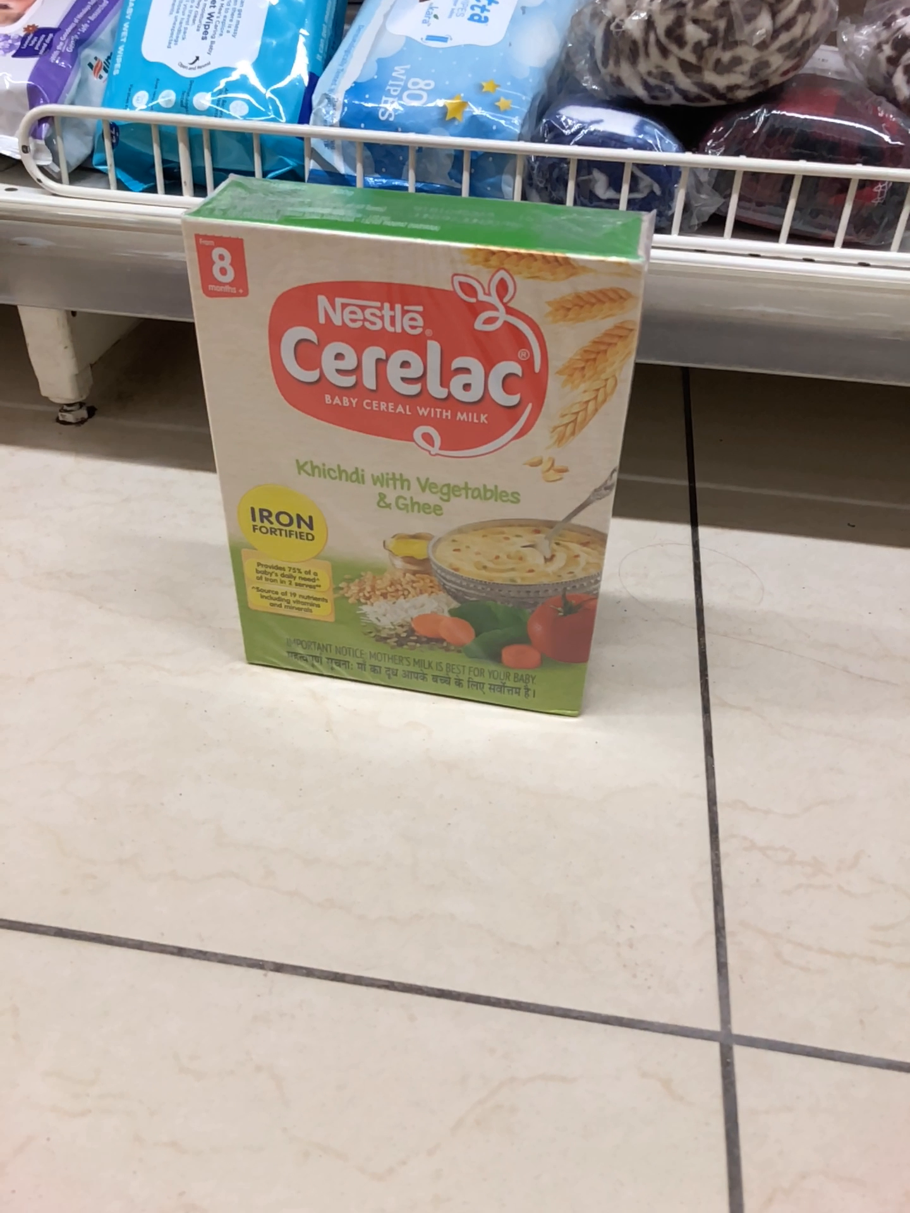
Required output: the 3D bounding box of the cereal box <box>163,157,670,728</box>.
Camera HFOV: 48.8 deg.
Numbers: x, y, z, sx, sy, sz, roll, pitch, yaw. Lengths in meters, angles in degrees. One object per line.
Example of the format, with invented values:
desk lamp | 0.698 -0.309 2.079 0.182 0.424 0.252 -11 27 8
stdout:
cereal box | -0.013 -0.058 0.396 0.160 0.199 0.060 9 38 8
